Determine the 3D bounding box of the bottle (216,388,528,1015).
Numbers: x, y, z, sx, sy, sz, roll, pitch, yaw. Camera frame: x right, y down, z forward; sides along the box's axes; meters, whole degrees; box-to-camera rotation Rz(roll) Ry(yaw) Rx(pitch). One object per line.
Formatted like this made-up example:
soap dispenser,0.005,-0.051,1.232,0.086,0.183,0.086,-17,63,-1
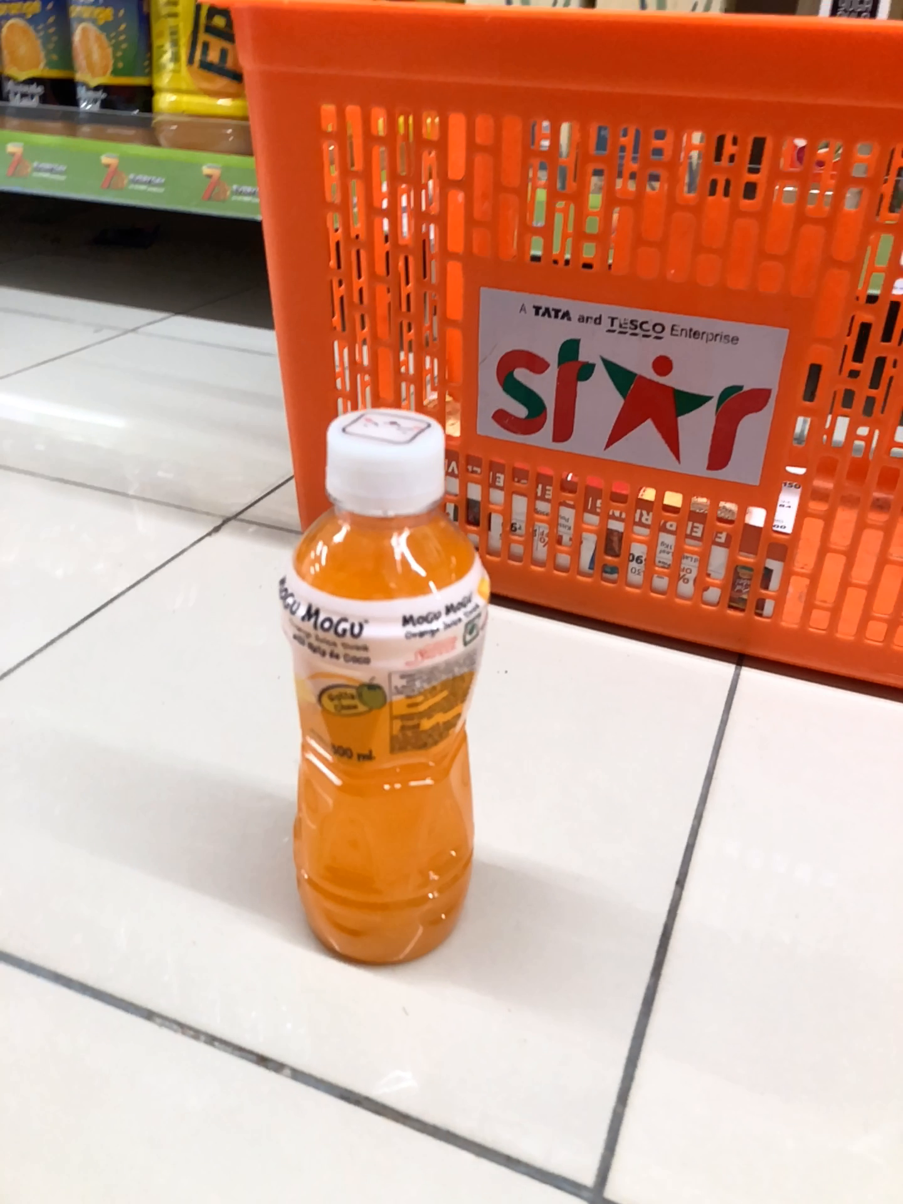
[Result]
bottle,-0.023,0.030,0.280,0.050,0.159,0.060,-20,36,-34
